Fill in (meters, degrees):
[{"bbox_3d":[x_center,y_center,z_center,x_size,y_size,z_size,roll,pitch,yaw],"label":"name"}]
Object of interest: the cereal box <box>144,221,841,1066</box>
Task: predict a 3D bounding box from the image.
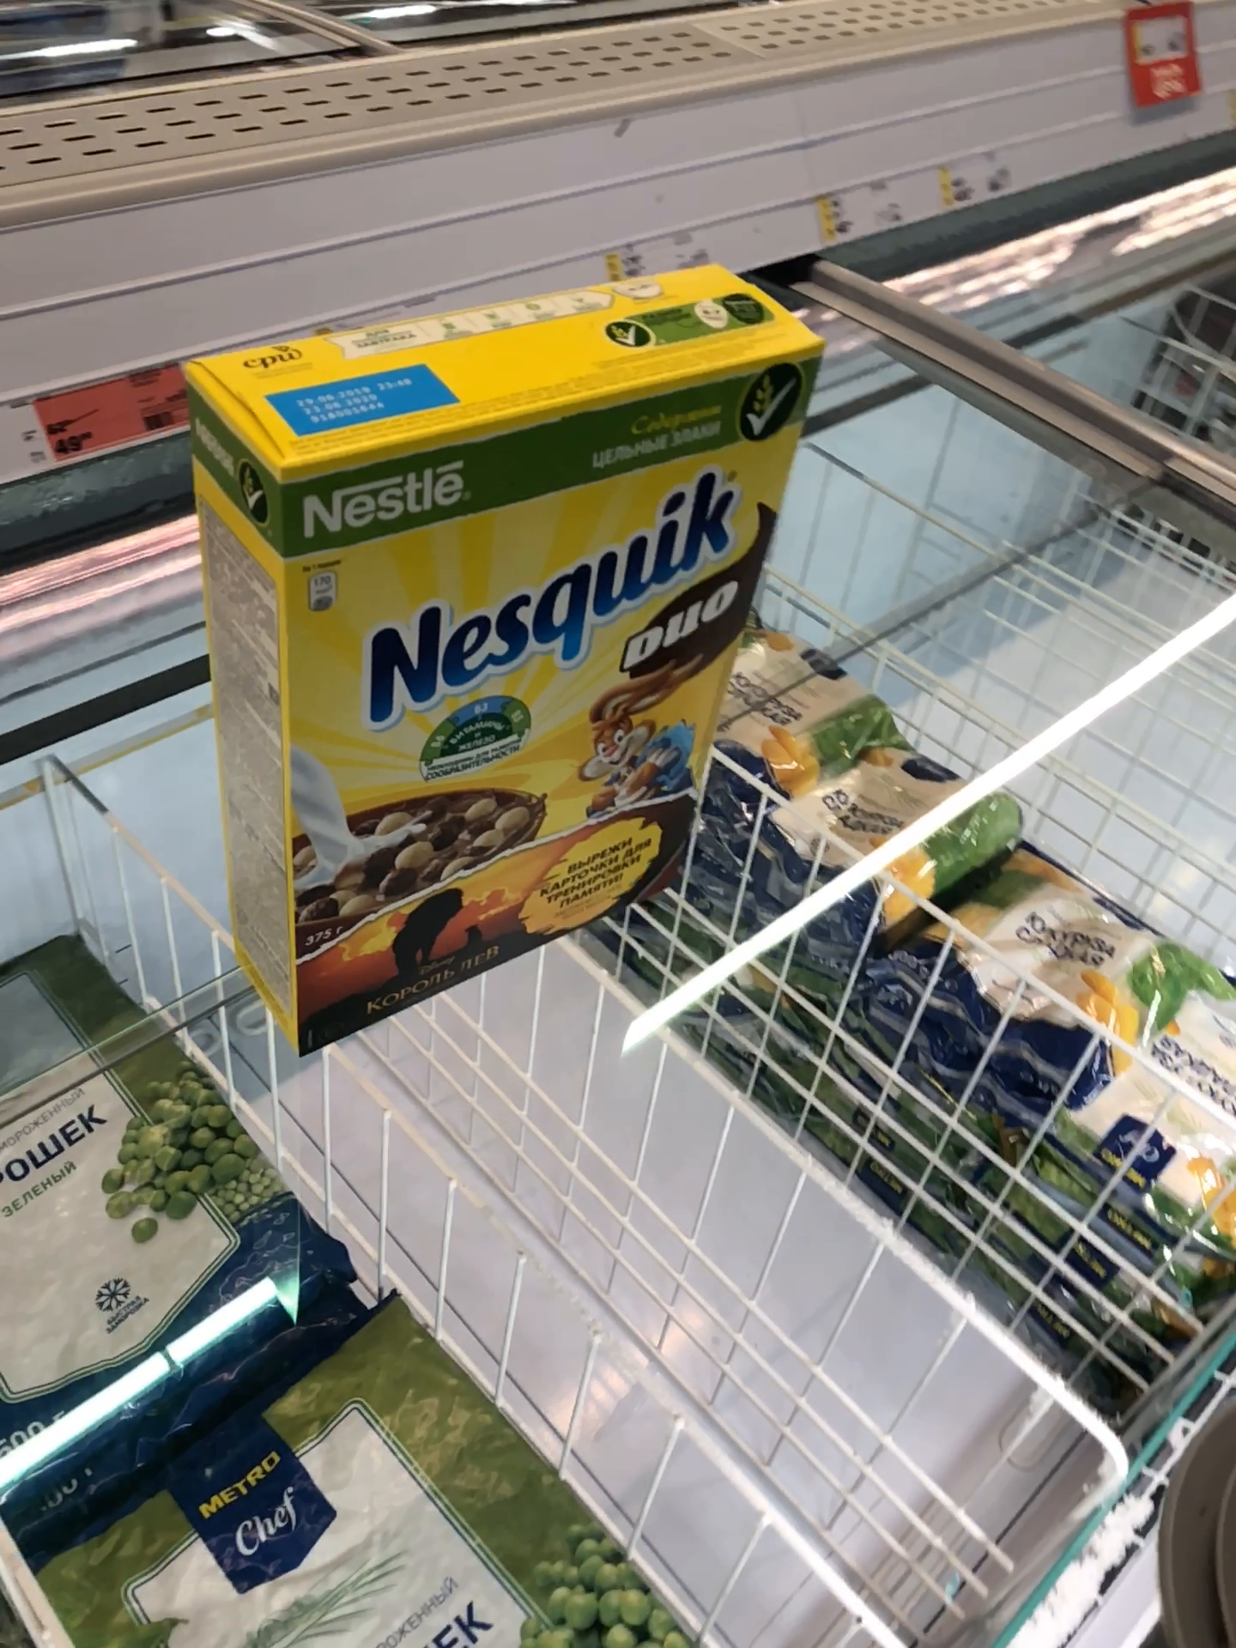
[{"bbox_3d":[-0.048,-0.056,0.503,0.201,0.278,0.070,-23,55,-29],"label":"cereal box"}]
